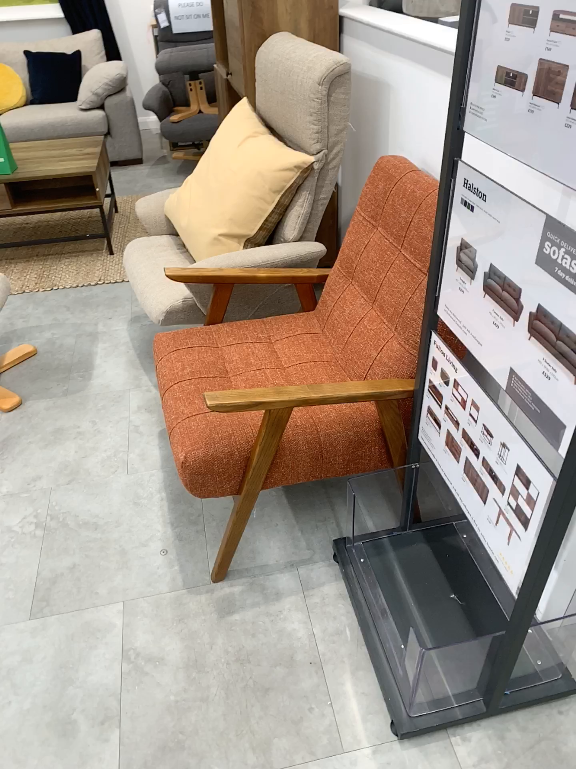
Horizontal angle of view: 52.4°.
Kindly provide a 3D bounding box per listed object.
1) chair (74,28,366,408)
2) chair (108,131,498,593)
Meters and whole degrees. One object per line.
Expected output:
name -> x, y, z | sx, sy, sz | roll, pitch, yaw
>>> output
chair -> -0.222, -0.613, 2.069 | 0.680, 1.013, 0.703 | -18, 39, -20
chair -> -0.015, -0.092, 1.570 | 0.699, 0.884, 0.694 | -12, 37, -12
